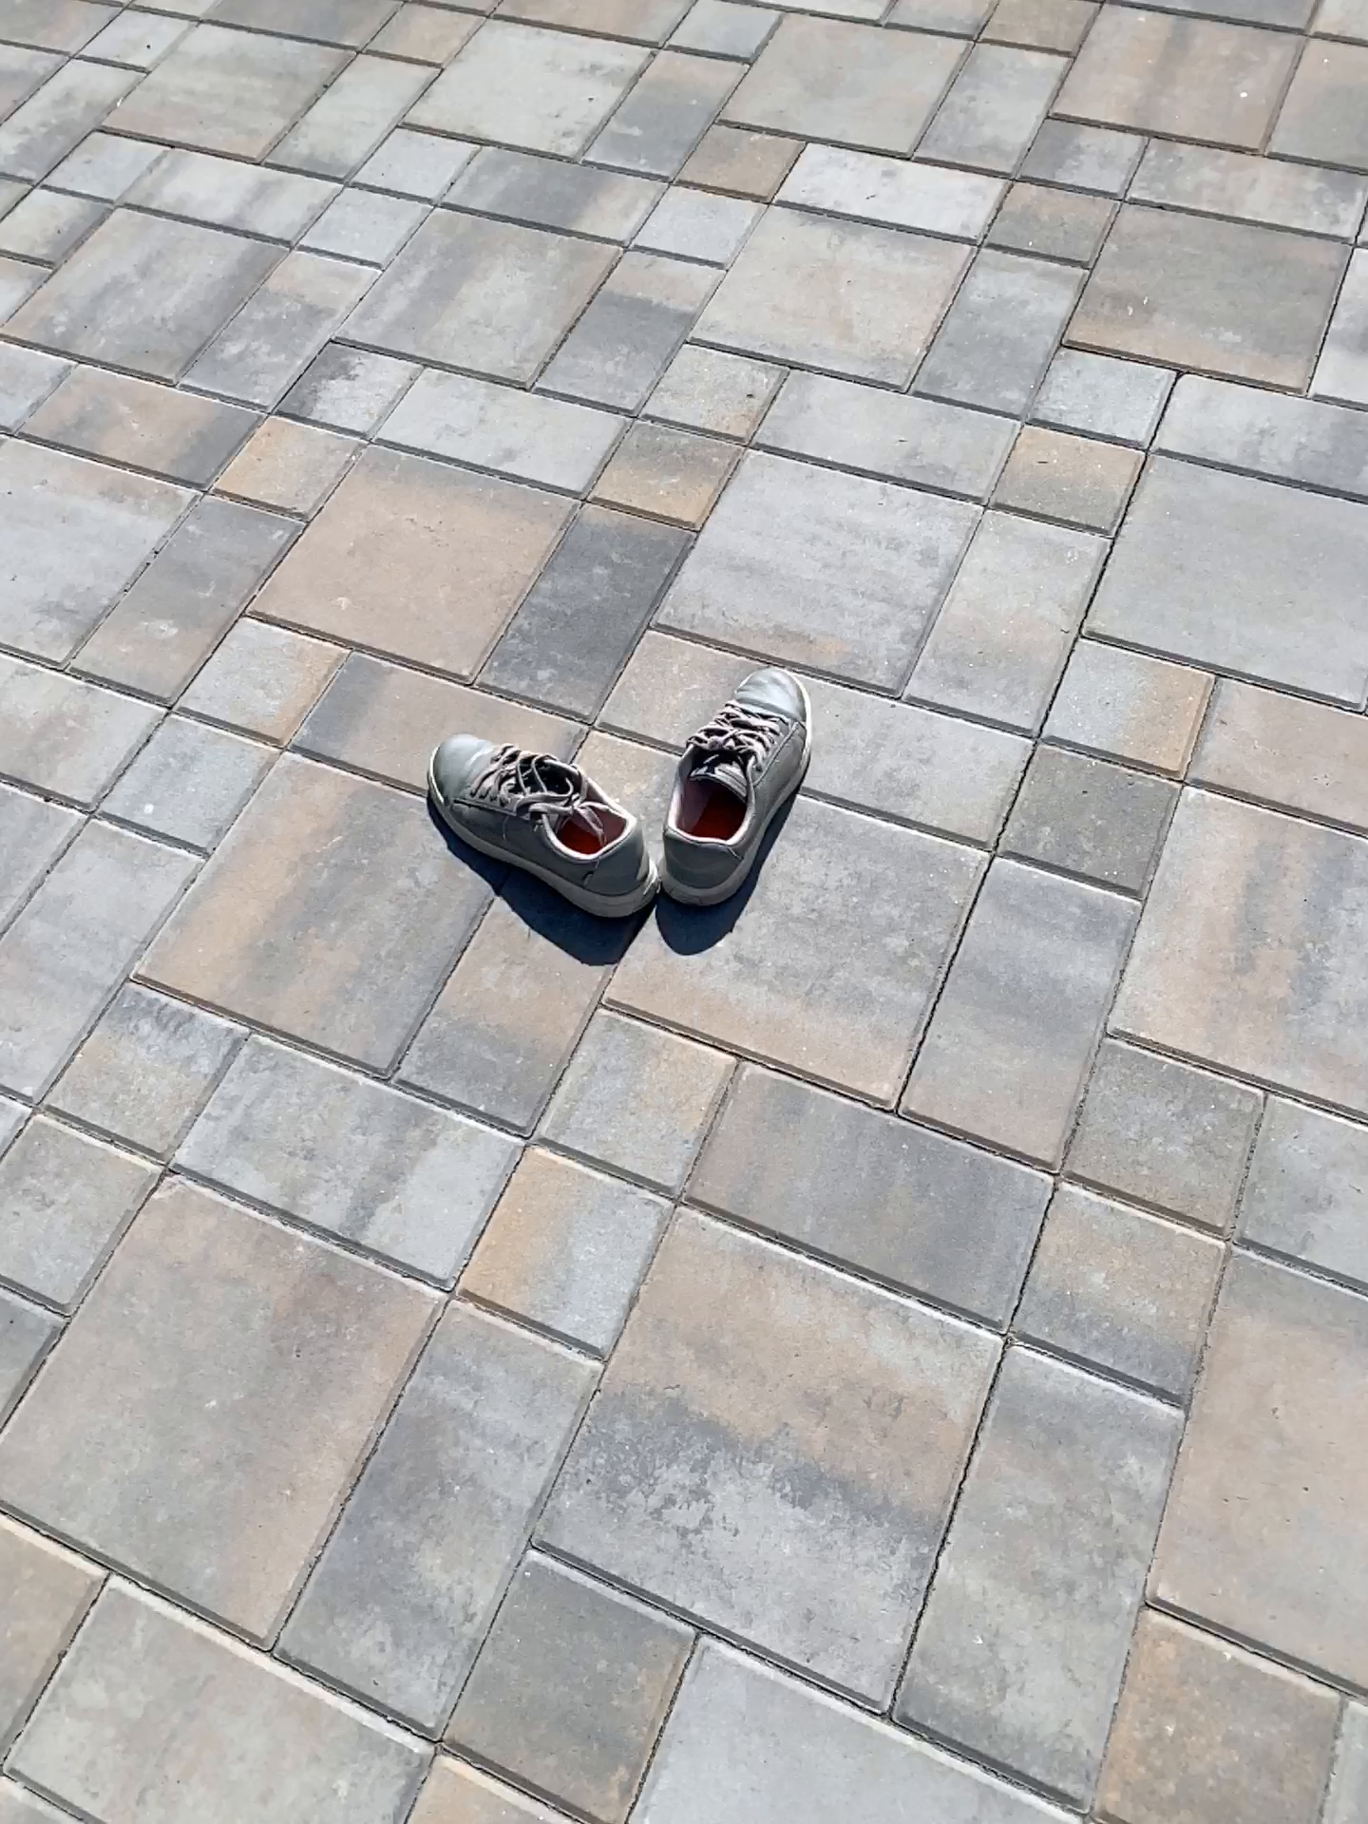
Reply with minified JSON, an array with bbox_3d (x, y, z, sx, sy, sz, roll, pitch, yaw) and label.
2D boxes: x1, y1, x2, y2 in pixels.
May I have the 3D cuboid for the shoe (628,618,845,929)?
[{"bbox_3d":[0.059,-0.146,1.431,0.120,0.090,0.300,17,63,13],"label":"shoe"}]

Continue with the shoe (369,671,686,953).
[{"bbox_3d":[-0.157,-0.103,1.418,0.301,0.110,0.120,32,67,19],"label":"shoe"}]
